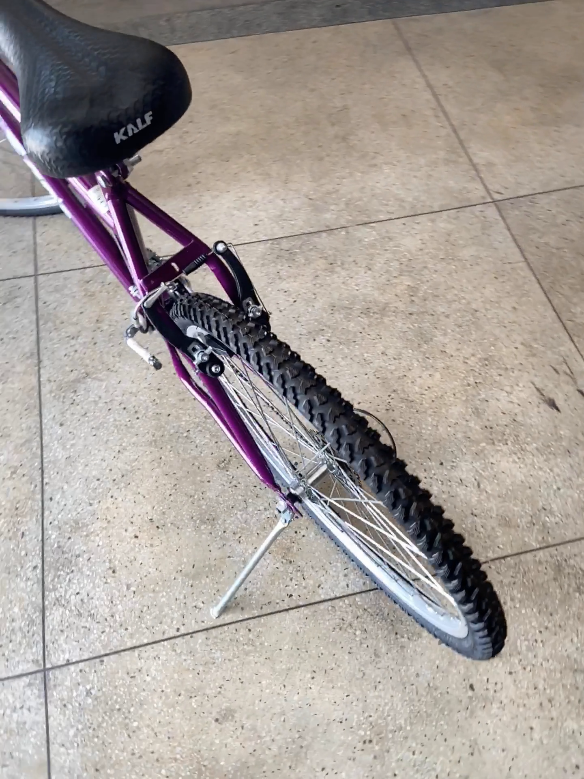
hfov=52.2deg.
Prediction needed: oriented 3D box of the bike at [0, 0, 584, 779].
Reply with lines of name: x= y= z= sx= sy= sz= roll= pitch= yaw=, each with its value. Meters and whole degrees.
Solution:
bike: x=-0.341 y=-0.199 z=0.780 sx=1.523 sy=1.036 sz=0.574 roll=34 pitch=65 yaw=16
